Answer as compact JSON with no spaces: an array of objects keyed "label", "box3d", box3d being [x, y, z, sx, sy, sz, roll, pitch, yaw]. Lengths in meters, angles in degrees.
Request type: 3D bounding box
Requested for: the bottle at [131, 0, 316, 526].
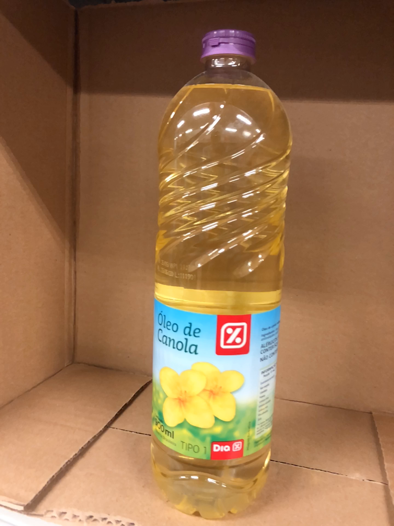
[{"label":"bottle","box3d":[0.011,0.010,0.245,0.080,0.269,0.050,6,13,15]}]
